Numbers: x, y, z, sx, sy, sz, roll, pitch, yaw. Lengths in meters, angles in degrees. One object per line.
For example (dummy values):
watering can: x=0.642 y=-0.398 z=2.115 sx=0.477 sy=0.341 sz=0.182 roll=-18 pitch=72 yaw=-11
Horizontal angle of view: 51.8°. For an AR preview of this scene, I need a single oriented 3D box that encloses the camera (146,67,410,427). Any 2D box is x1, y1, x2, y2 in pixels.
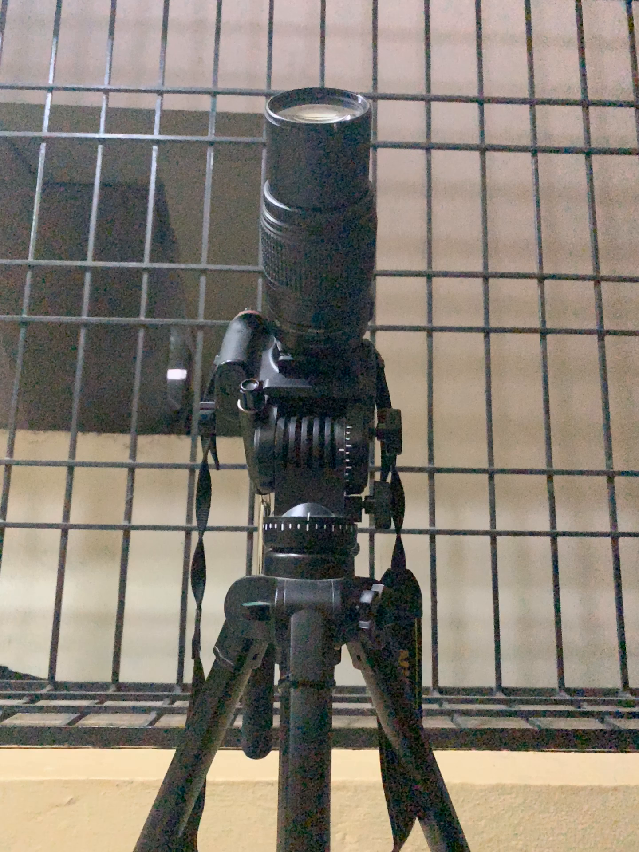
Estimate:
camera: x=-0.019 y=-0.113 z=0.441 sx=0.136 sy=0.101 sz=0.209 roll=1 pitch=-51 yaw=2
